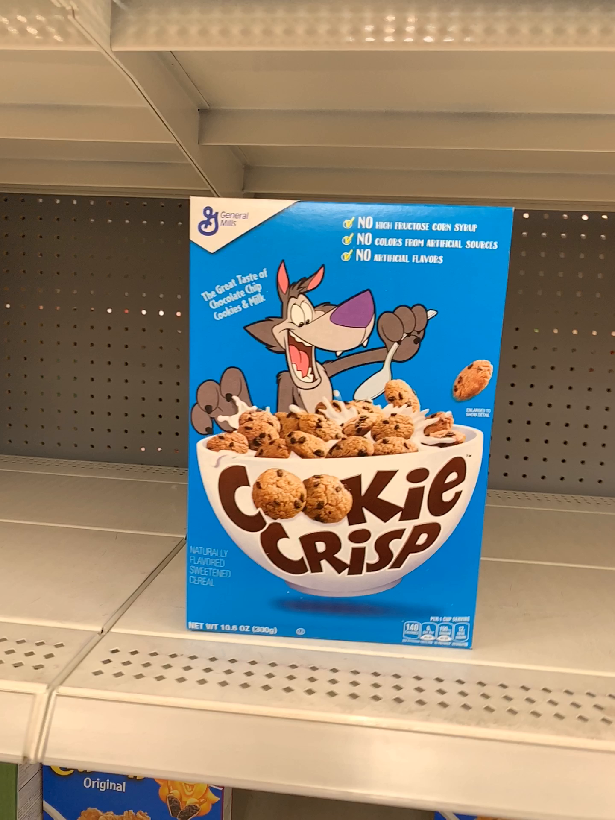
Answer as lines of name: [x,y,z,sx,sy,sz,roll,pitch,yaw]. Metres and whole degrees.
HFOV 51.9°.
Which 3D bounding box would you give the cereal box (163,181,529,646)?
cereal box: [0.017,0.005,0.413,0.210,0.279,0.050,3,10,2]
